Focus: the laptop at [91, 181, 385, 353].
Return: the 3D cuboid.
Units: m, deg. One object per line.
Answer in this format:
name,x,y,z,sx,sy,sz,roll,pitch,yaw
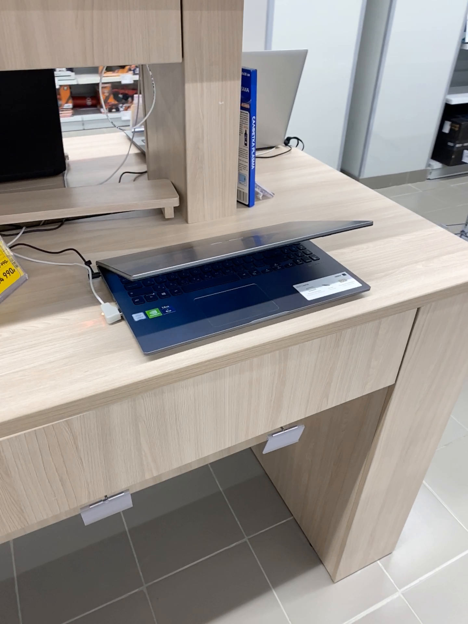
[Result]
laptop,0.000,-0.090,0.708,0.353,0.088,0.237,-15,39,-24
